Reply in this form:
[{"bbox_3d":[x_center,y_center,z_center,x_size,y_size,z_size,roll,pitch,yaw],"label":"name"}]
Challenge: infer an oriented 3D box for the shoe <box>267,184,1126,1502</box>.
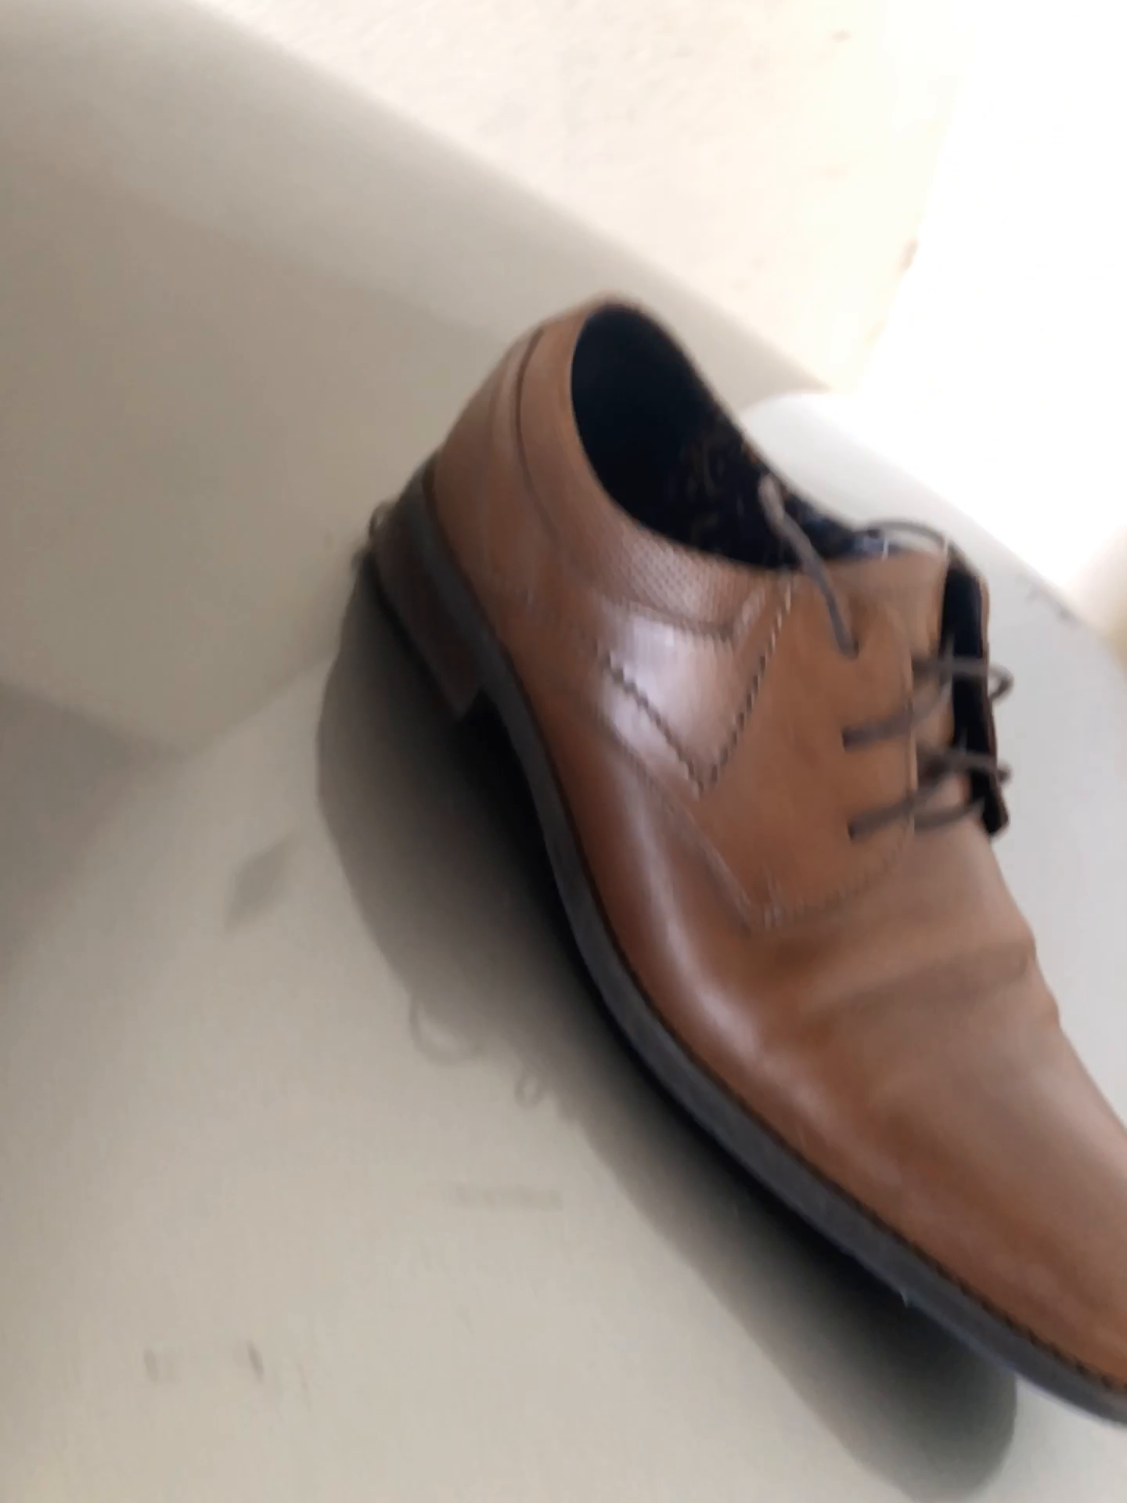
[{"bbox_3d":[0.058,-0.005,0.312,0.131,0.089,0.341,-10,53,-35],"label":"shoe"}]
